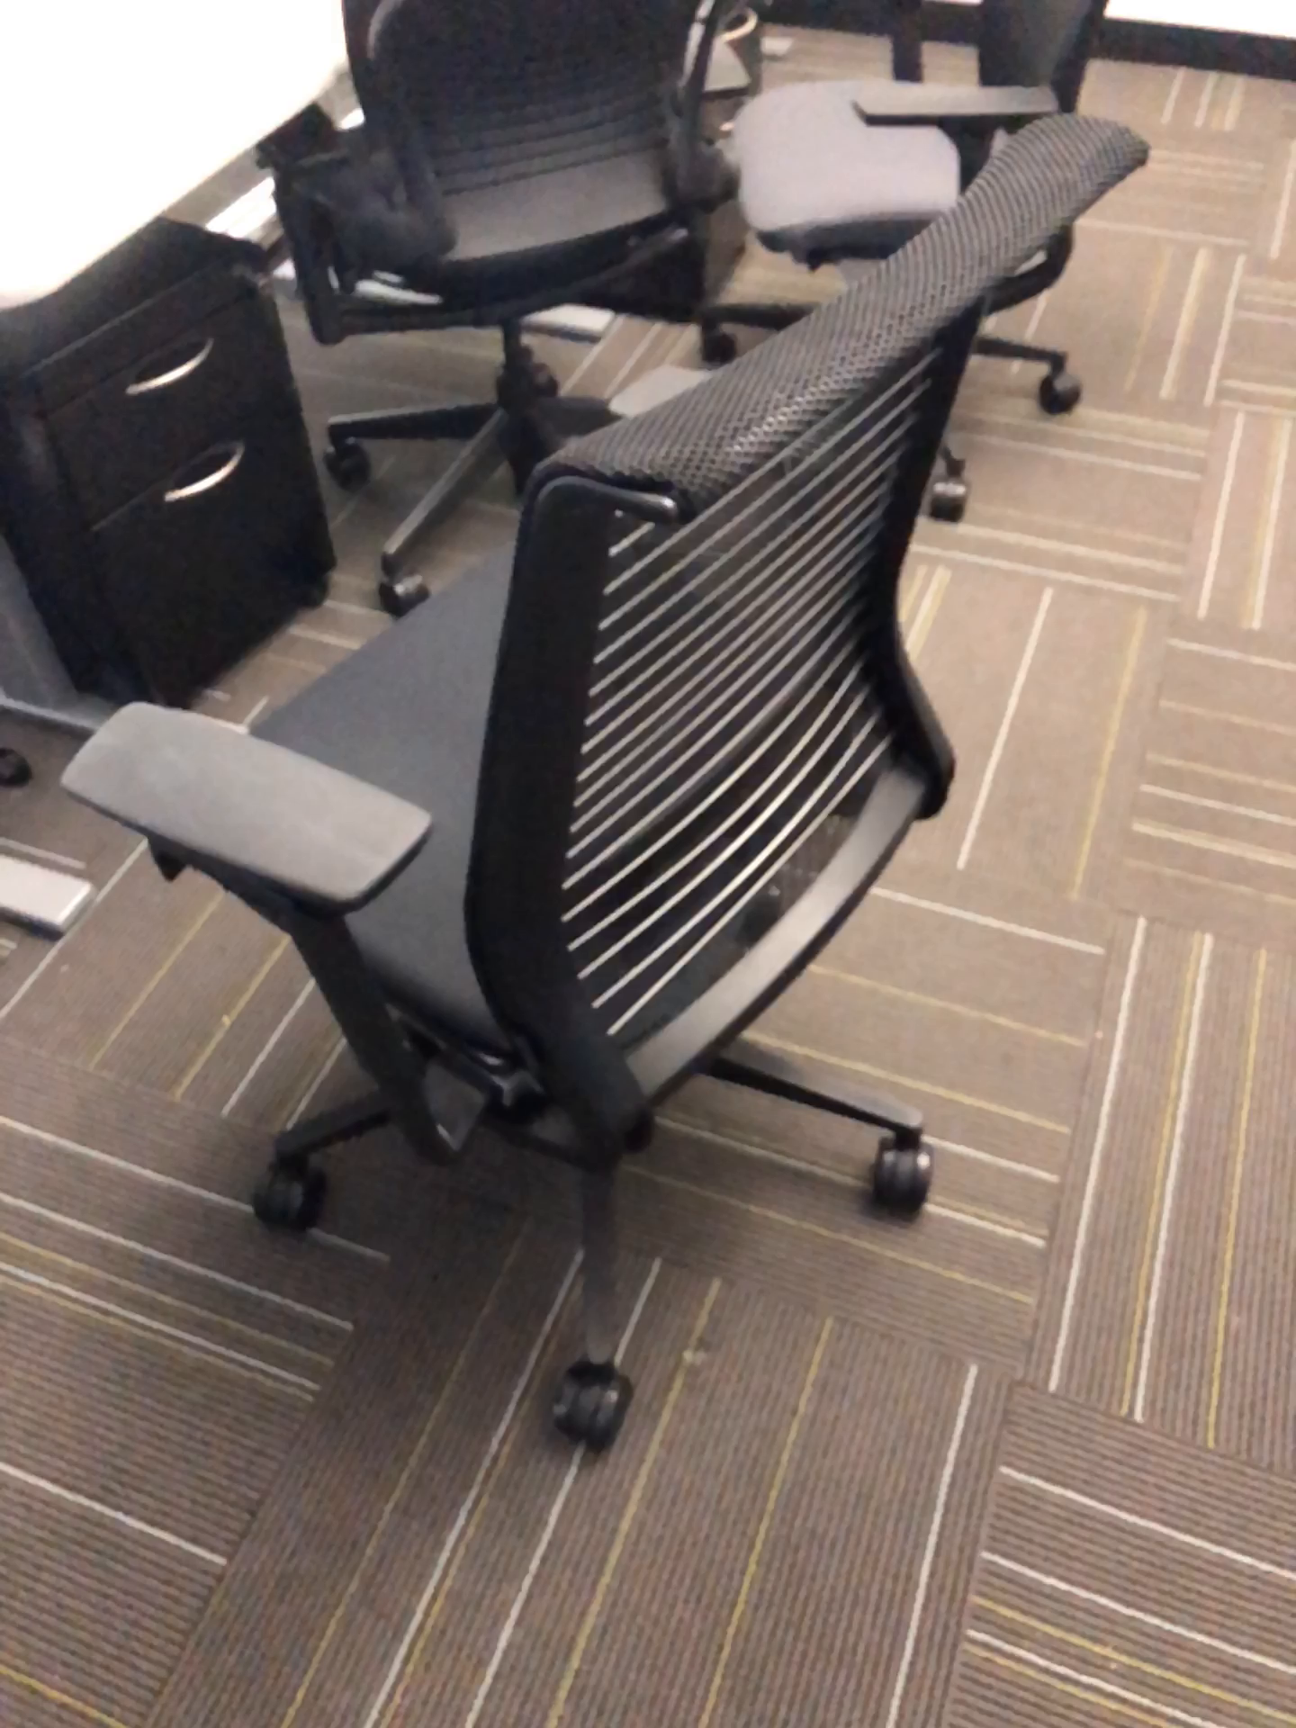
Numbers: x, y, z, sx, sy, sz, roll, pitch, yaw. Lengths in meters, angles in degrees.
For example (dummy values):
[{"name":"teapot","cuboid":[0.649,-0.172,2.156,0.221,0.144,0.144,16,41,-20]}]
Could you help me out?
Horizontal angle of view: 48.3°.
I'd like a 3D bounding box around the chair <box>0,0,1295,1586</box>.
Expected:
[{"name":"chair","cuboid":[-0.022,-0.120,1.143,0.661,0.996,0.752,26,53,24]}]
